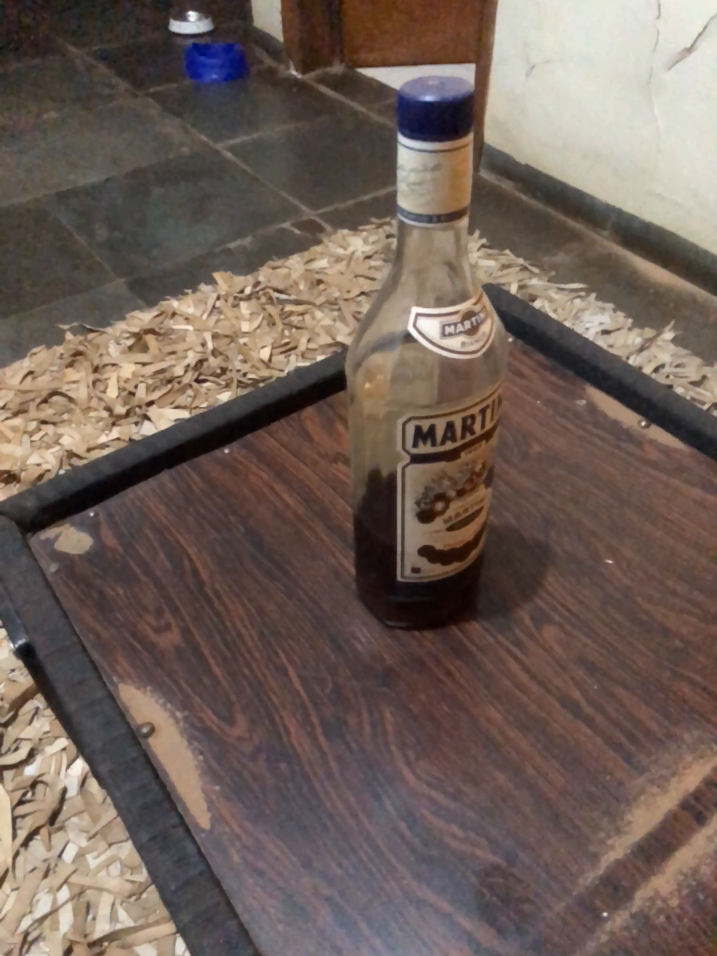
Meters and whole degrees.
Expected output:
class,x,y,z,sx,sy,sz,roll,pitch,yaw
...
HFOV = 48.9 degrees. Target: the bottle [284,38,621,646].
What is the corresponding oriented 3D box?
class,x,y,z,sx,sy,sz,roll,pitch,yaw
bottle,0.037,-0.050,0.419,0.100,0.298,0.090,-23,49,-21
